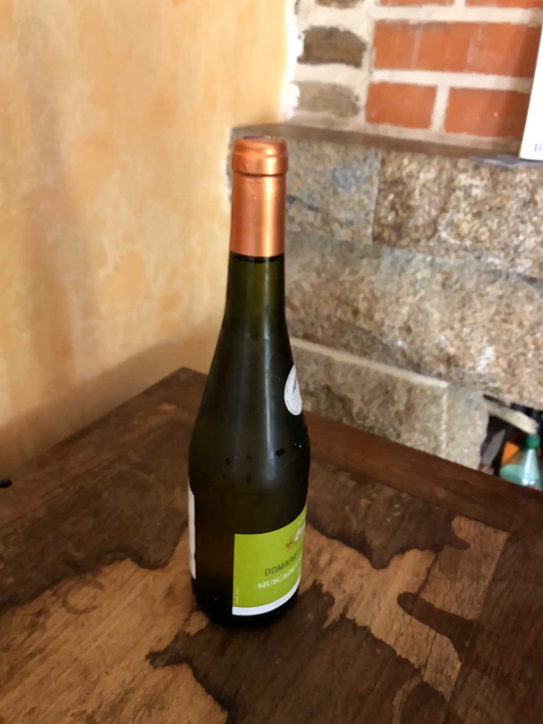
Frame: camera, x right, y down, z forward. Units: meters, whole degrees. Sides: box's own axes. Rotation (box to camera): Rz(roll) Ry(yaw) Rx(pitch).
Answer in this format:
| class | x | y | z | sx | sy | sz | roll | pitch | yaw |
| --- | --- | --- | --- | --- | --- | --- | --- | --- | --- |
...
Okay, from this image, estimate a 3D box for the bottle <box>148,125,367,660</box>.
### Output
| class | x | y | z | sx | sy | sz | roll | pitch | yaw |
| --- | --- | --- | --- | --- | --- | --- | --- | --- | --- |
| bottle | -0.011 | 0.026 | 0.370 | 0.080 | 0.308 | 0.091 | 13 | 27 | 19 |
